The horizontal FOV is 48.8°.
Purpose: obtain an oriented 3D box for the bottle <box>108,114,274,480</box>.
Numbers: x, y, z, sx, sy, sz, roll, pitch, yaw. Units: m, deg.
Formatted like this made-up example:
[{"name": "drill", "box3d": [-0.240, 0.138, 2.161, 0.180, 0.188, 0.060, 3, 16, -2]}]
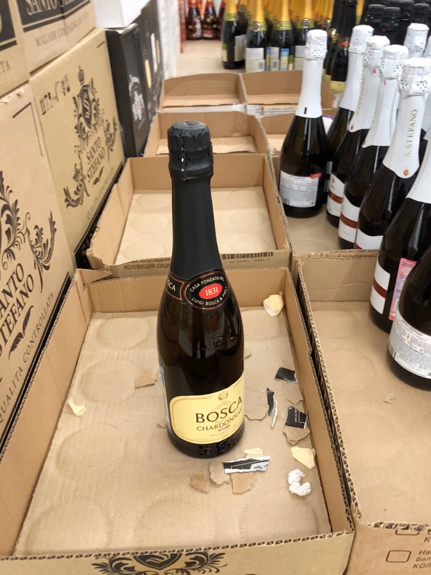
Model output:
[{"name": "bottle", "box3d": [-0.014, 0.024, 0.412, 0.090, 0.308, 0.080, -17, 37, -20]}]
